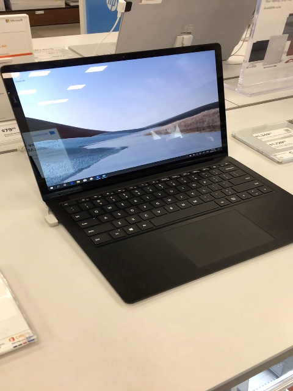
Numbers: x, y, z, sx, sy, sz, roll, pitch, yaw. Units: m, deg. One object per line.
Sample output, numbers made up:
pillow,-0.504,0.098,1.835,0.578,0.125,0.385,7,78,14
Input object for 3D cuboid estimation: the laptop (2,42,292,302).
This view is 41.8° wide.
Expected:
laptop,0.047,-0.060,0.517,0.329,0.186,0.291,-19,45,-25
